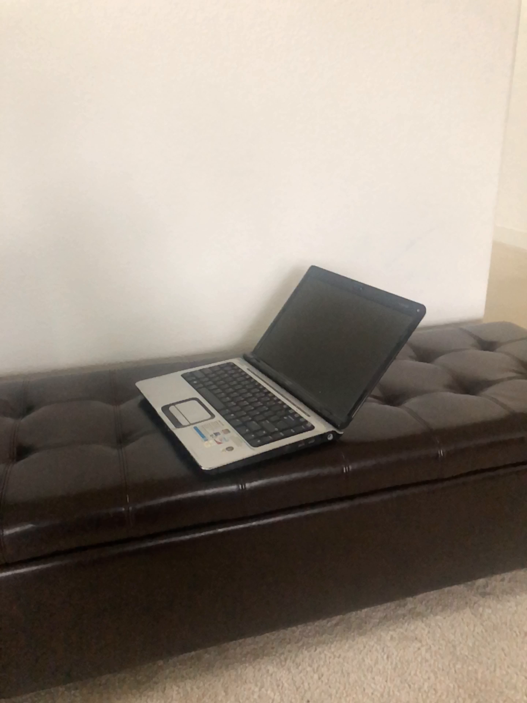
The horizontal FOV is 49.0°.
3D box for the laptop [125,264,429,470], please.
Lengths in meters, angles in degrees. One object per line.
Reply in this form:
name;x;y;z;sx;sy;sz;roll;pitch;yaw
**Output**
laptop;0.011;-0.009;0.963;0.381;0.161;0.327;-13;24;-26
